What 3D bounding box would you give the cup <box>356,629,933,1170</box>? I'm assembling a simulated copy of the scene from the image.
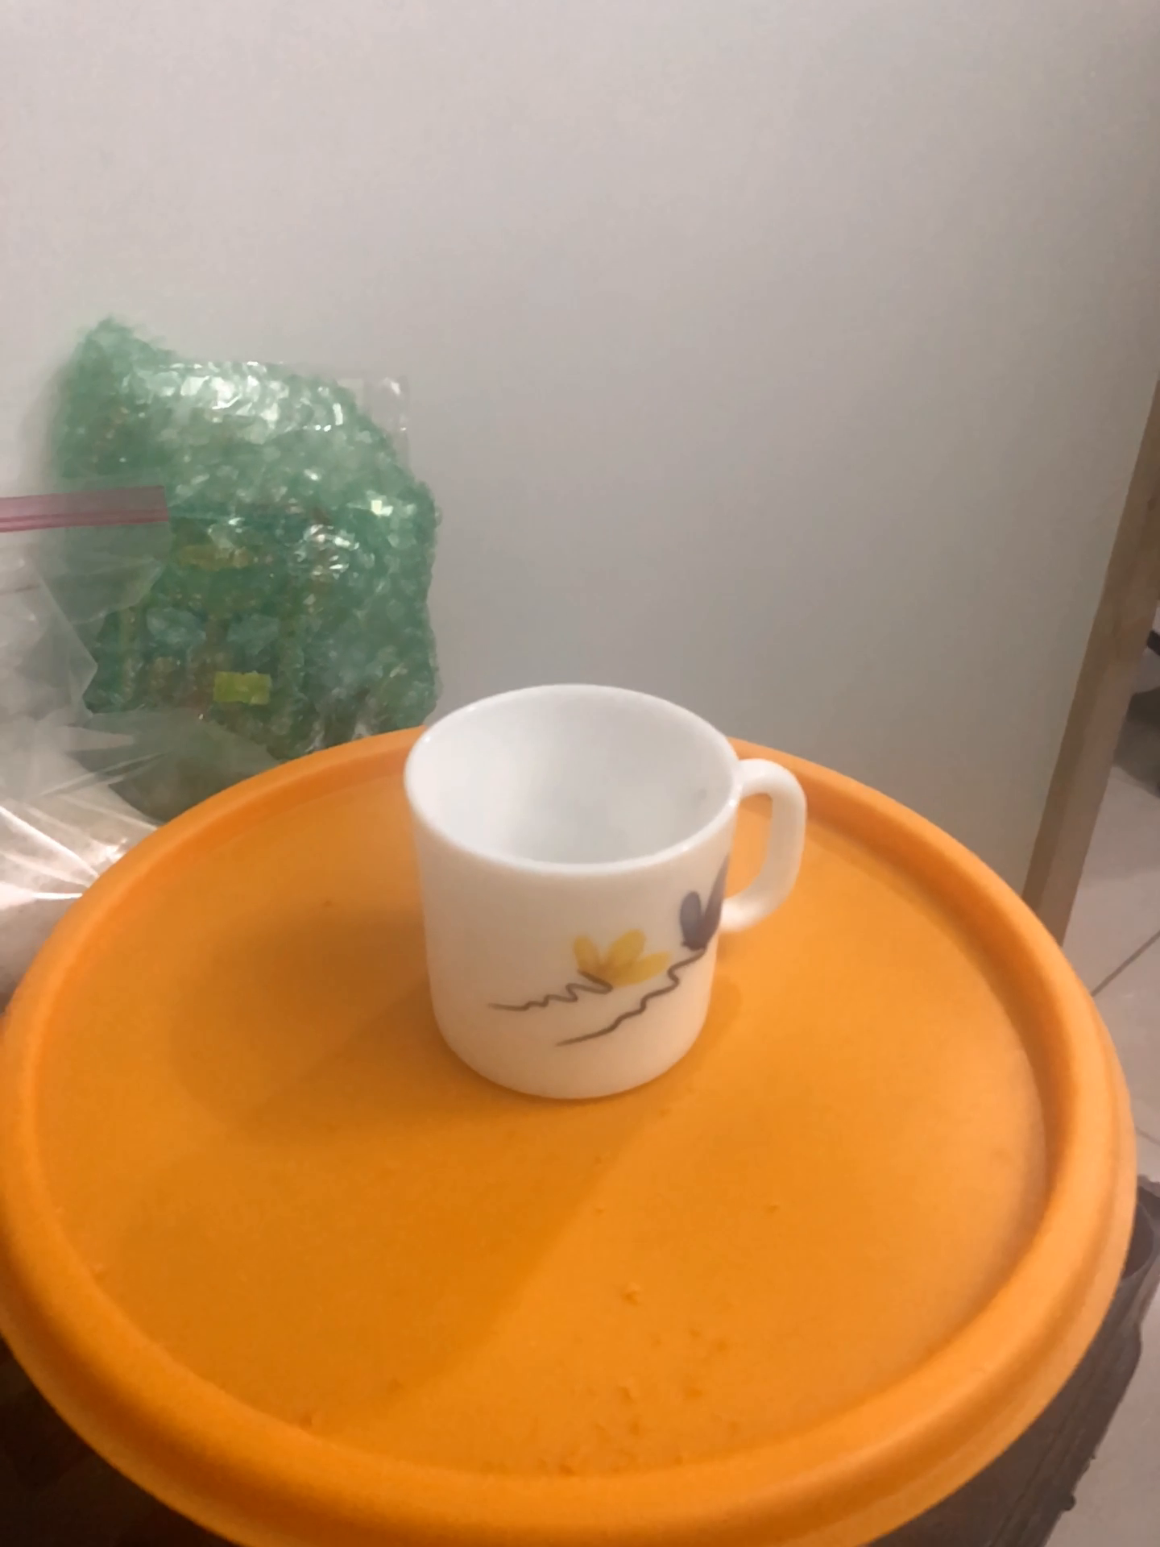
[{"bbox_3d":[0.010,0.023,0.298,0.100,0.070,0.080,-13,35,-22],"label":"cup"}]
